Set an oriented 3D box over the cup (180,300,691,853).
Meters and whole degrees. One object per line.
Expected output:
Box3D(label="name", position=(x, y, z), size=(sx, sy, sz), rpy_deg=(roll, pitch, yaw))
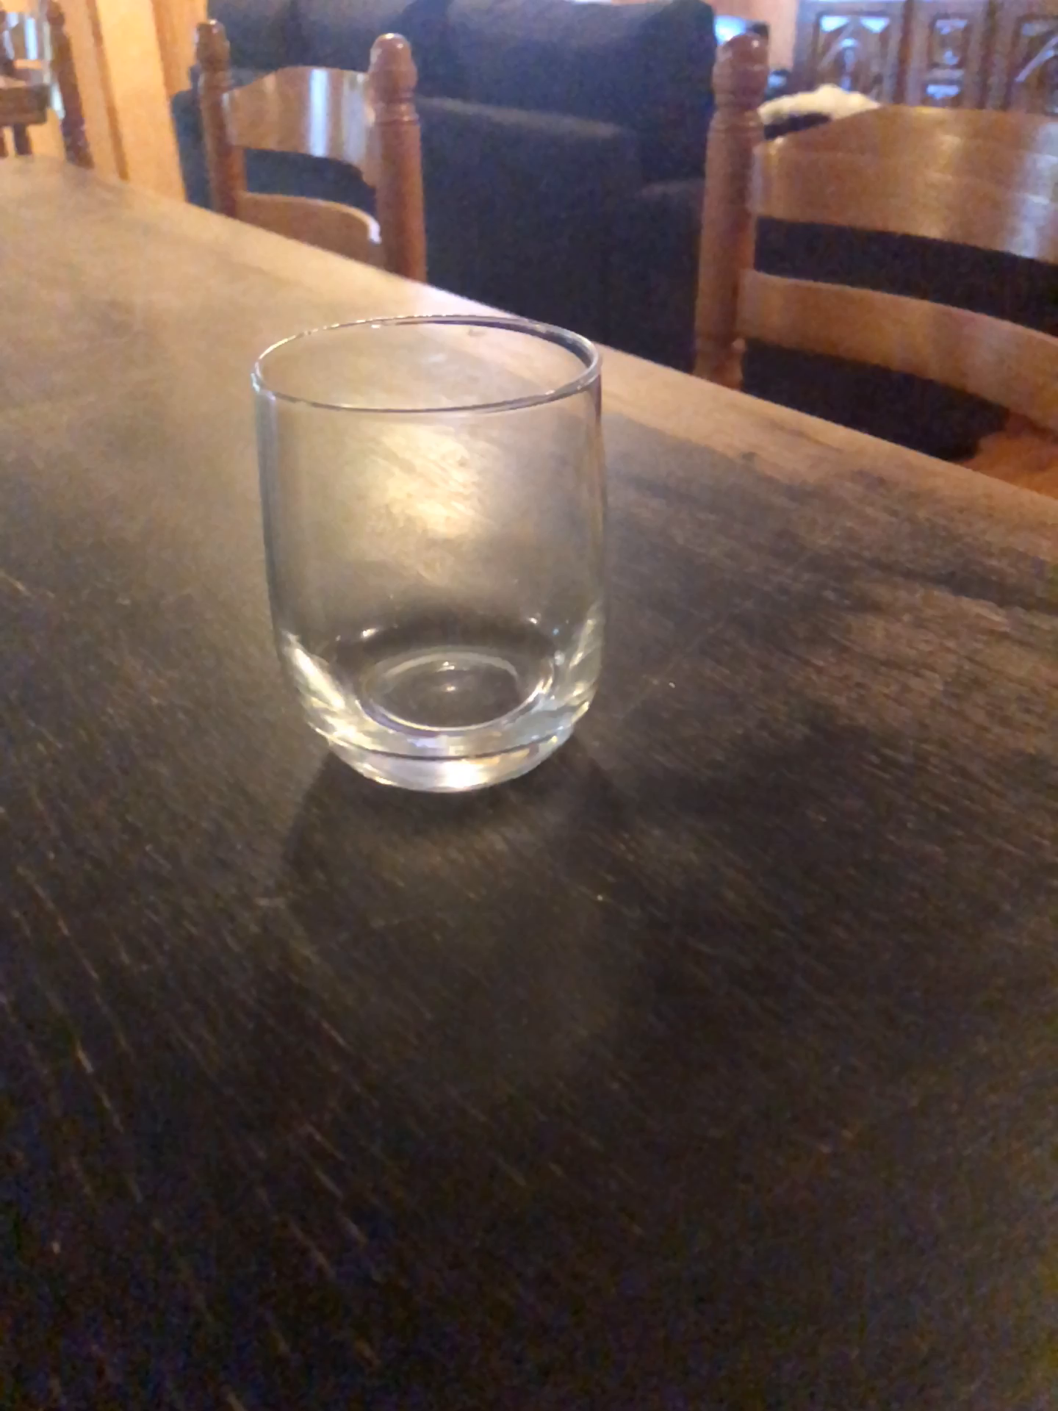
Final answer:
Box3D(label="cup", position=(-0.019, -0.034, 0.257), size=(0.071, 0.084, 0.077), rpy_deg=(-1, 31, 1))
